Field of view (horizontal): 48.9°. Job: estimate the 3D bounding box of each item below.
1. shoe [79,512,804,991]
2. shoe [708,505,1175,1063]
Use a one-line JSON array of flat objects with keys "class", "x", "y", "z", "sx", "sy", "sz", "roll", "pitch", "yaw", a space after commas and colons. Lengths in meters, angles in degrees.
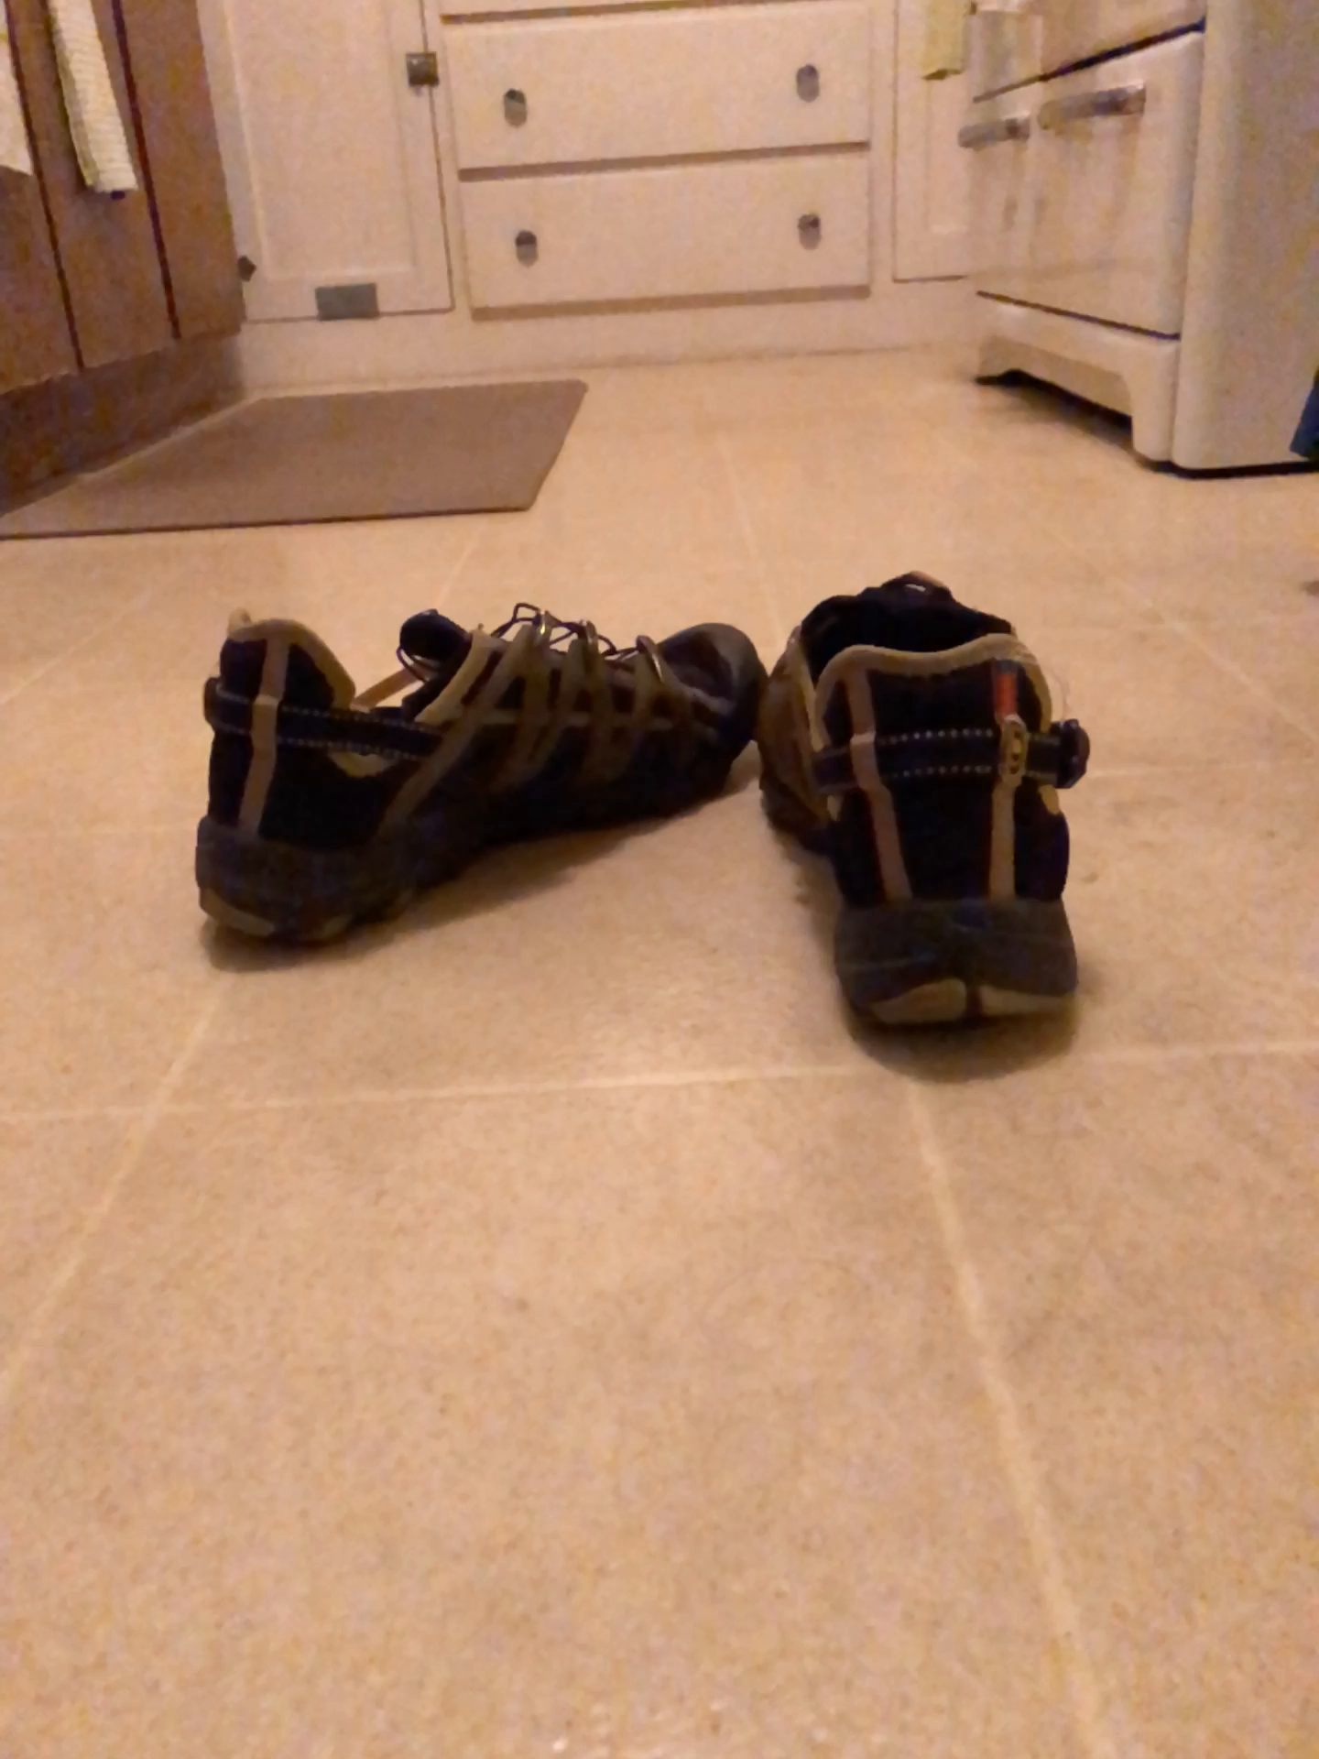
[{"class": "shoe", "x": -0.073, "y": -0.069, "z": 0.604, "sx": 0.280, "sy": 0.109, "sz": 0.100, "roll": -23, "pitch": 31, "yaw": -36}, {"class": "shoe", "x": 0.086, "y": -0.057, "z": 0.557, "sx": 0.109, "sy": 0.111, "sz": 0.288, "roll": -4, "pitch": 24, "yaw": -1}]
